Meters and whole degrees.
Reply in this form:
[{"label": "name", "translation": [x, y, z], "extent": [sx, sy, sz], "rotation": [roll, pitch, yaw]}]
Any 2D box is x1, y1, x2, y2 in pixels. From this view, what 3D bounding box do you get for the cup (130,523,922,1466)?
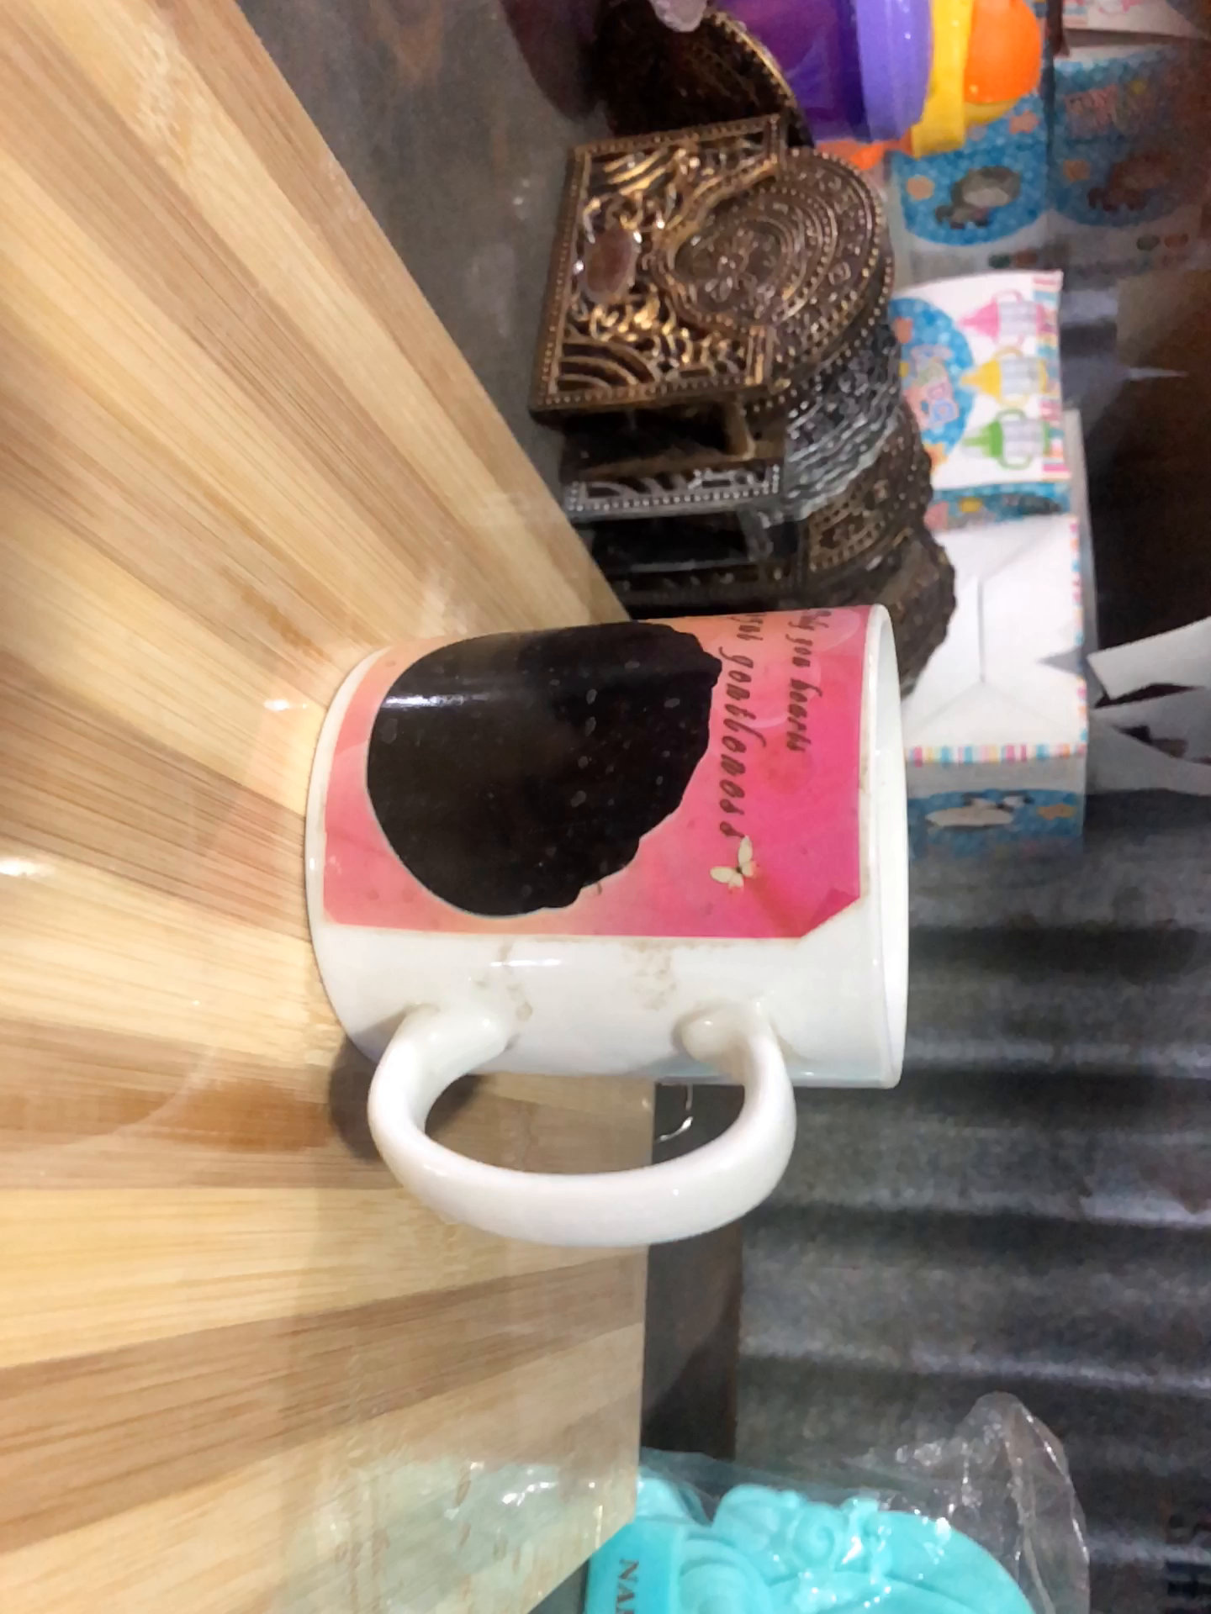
[{"label": "cup", "translation": [0.005, 0.025, 0.227], "extent": [0.120, 0.090, 0.090], "rotation": [-74, 158, -47]}]
